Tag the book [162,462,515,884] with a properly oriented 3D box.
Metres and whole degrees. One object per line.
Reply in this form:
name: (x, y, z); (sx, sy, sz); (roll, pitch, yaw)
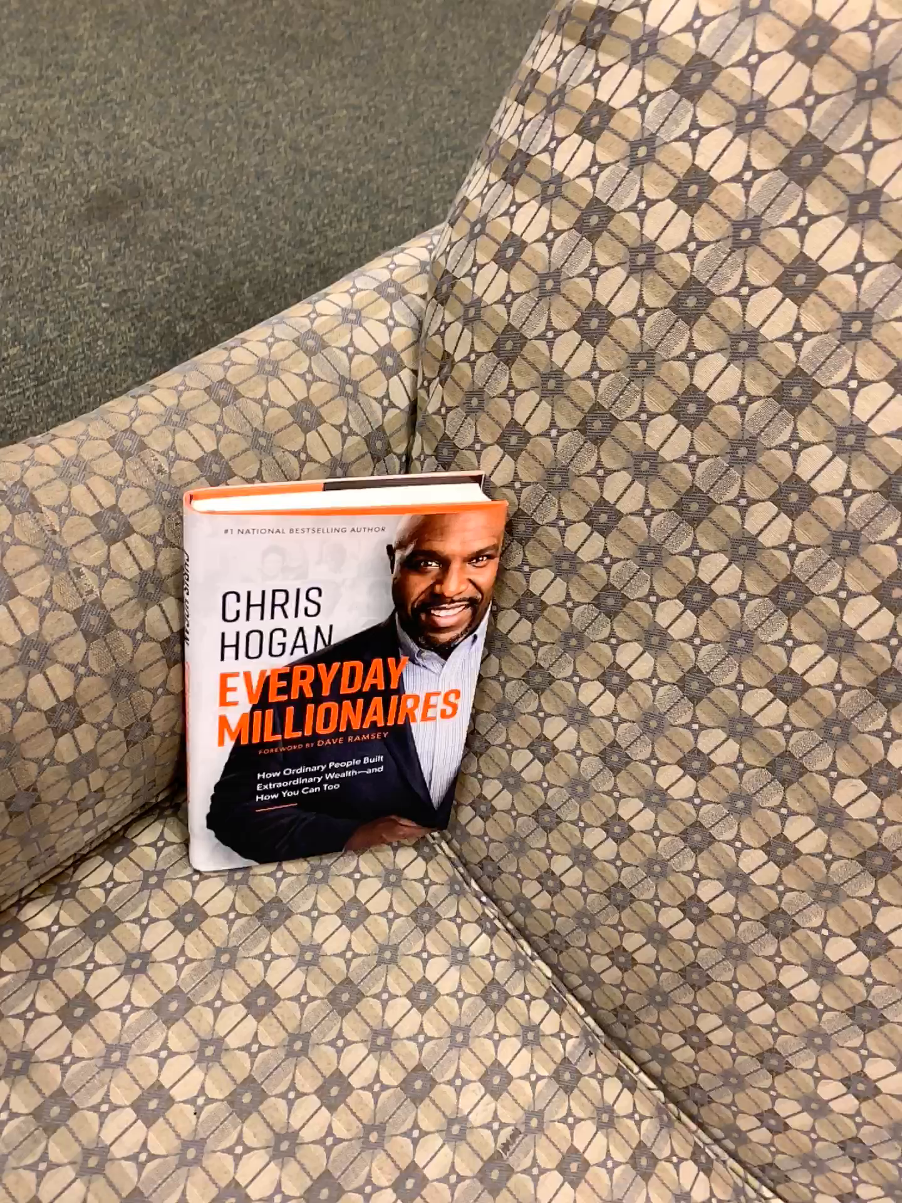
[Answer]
book: (-0.067, 0.045, 0.499); (0.160, 0.244, 0.038); (-3, 35, -19)
